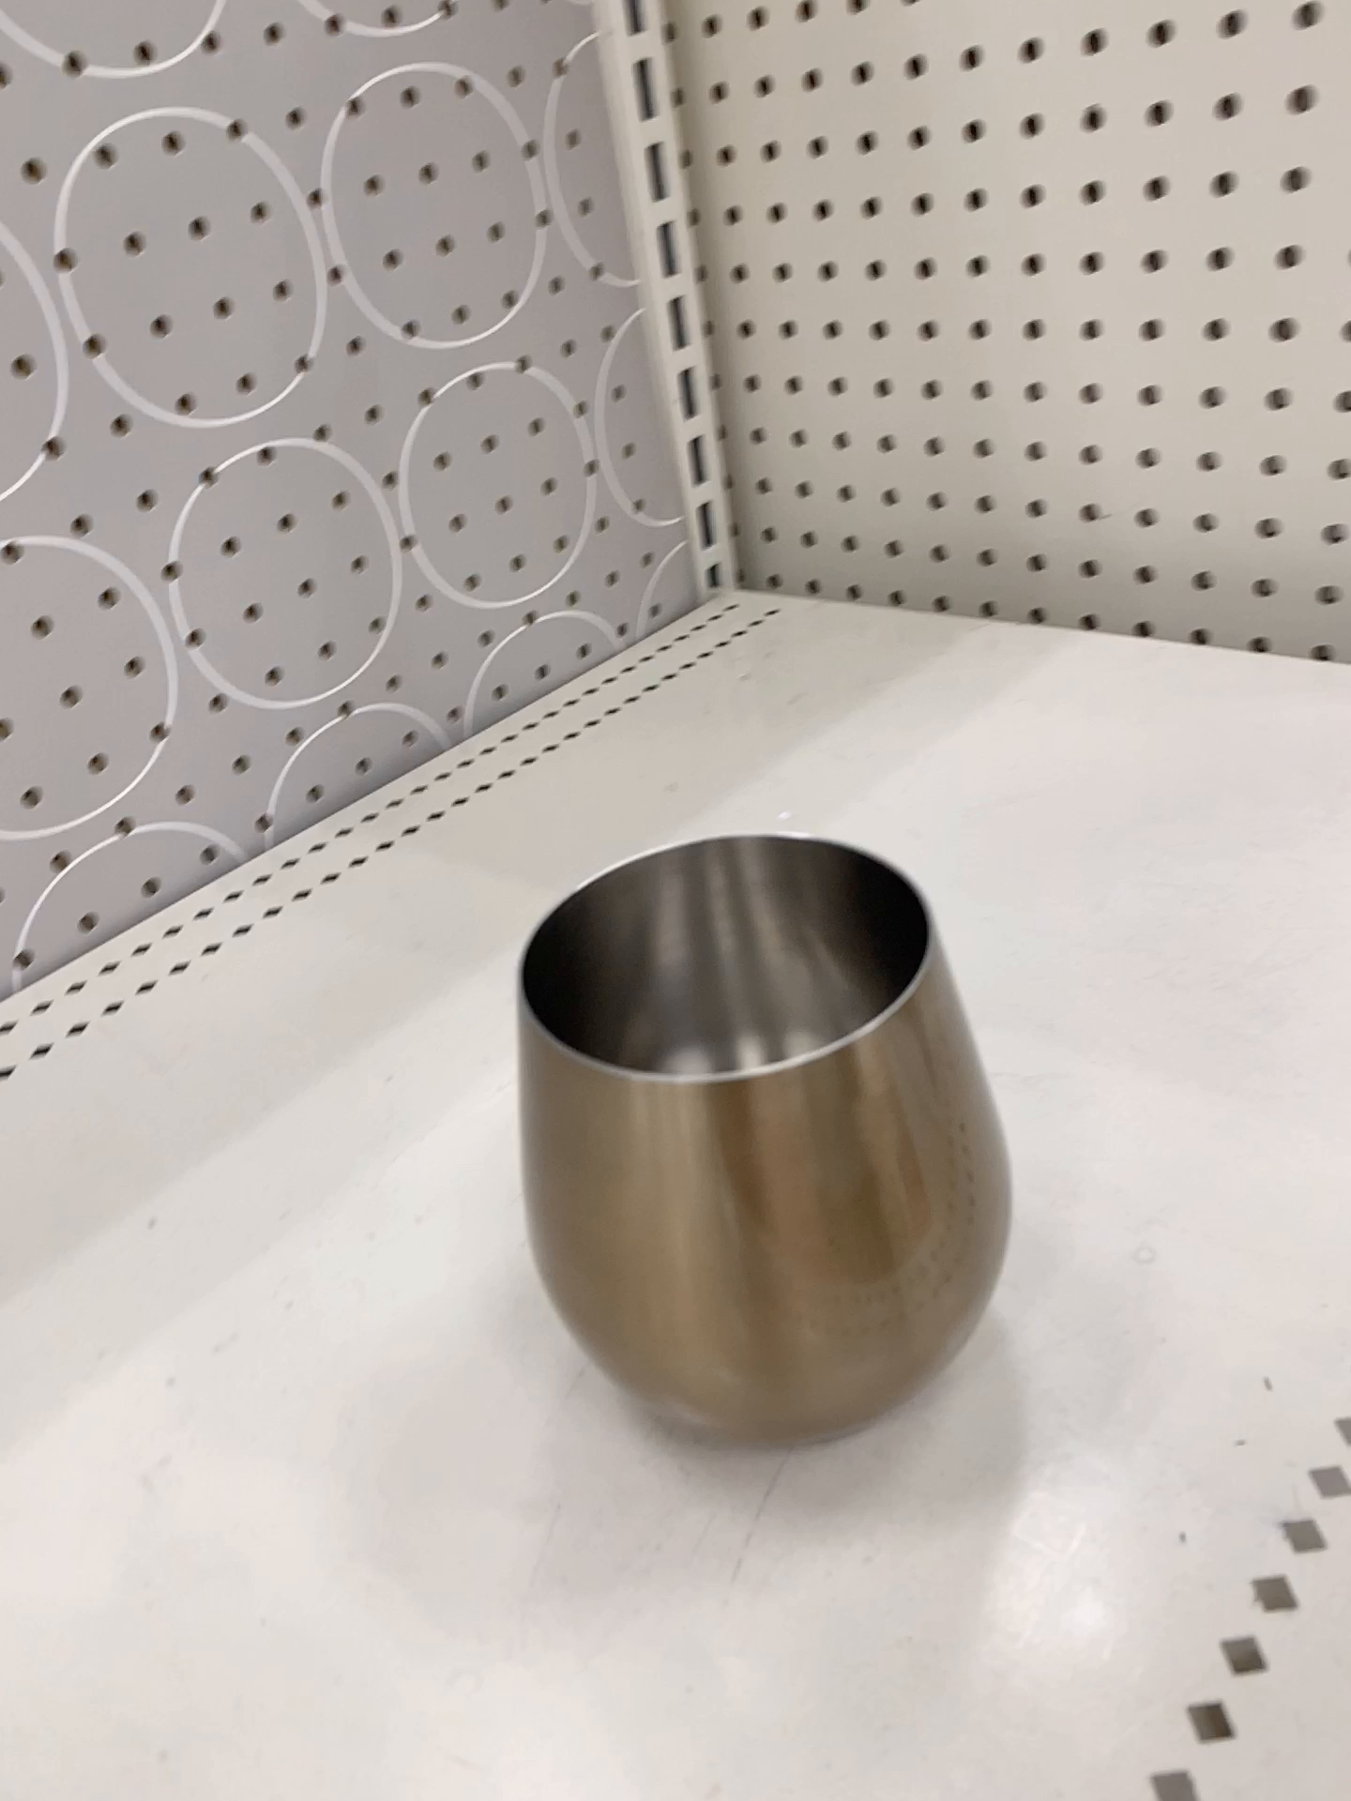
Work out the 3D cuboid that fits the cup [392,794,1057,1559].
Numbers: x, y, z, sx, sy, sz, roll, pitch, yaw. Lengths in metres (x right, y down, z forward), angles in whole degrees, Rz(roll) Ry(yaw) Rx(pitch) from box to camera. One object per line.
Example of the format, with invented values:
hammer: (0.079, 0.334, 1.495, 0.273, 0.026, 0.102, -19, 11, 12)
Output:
cup: (0.015, 0.045, 0.263, 0.084, 0.089, 0.082, -8, 32, 5)
